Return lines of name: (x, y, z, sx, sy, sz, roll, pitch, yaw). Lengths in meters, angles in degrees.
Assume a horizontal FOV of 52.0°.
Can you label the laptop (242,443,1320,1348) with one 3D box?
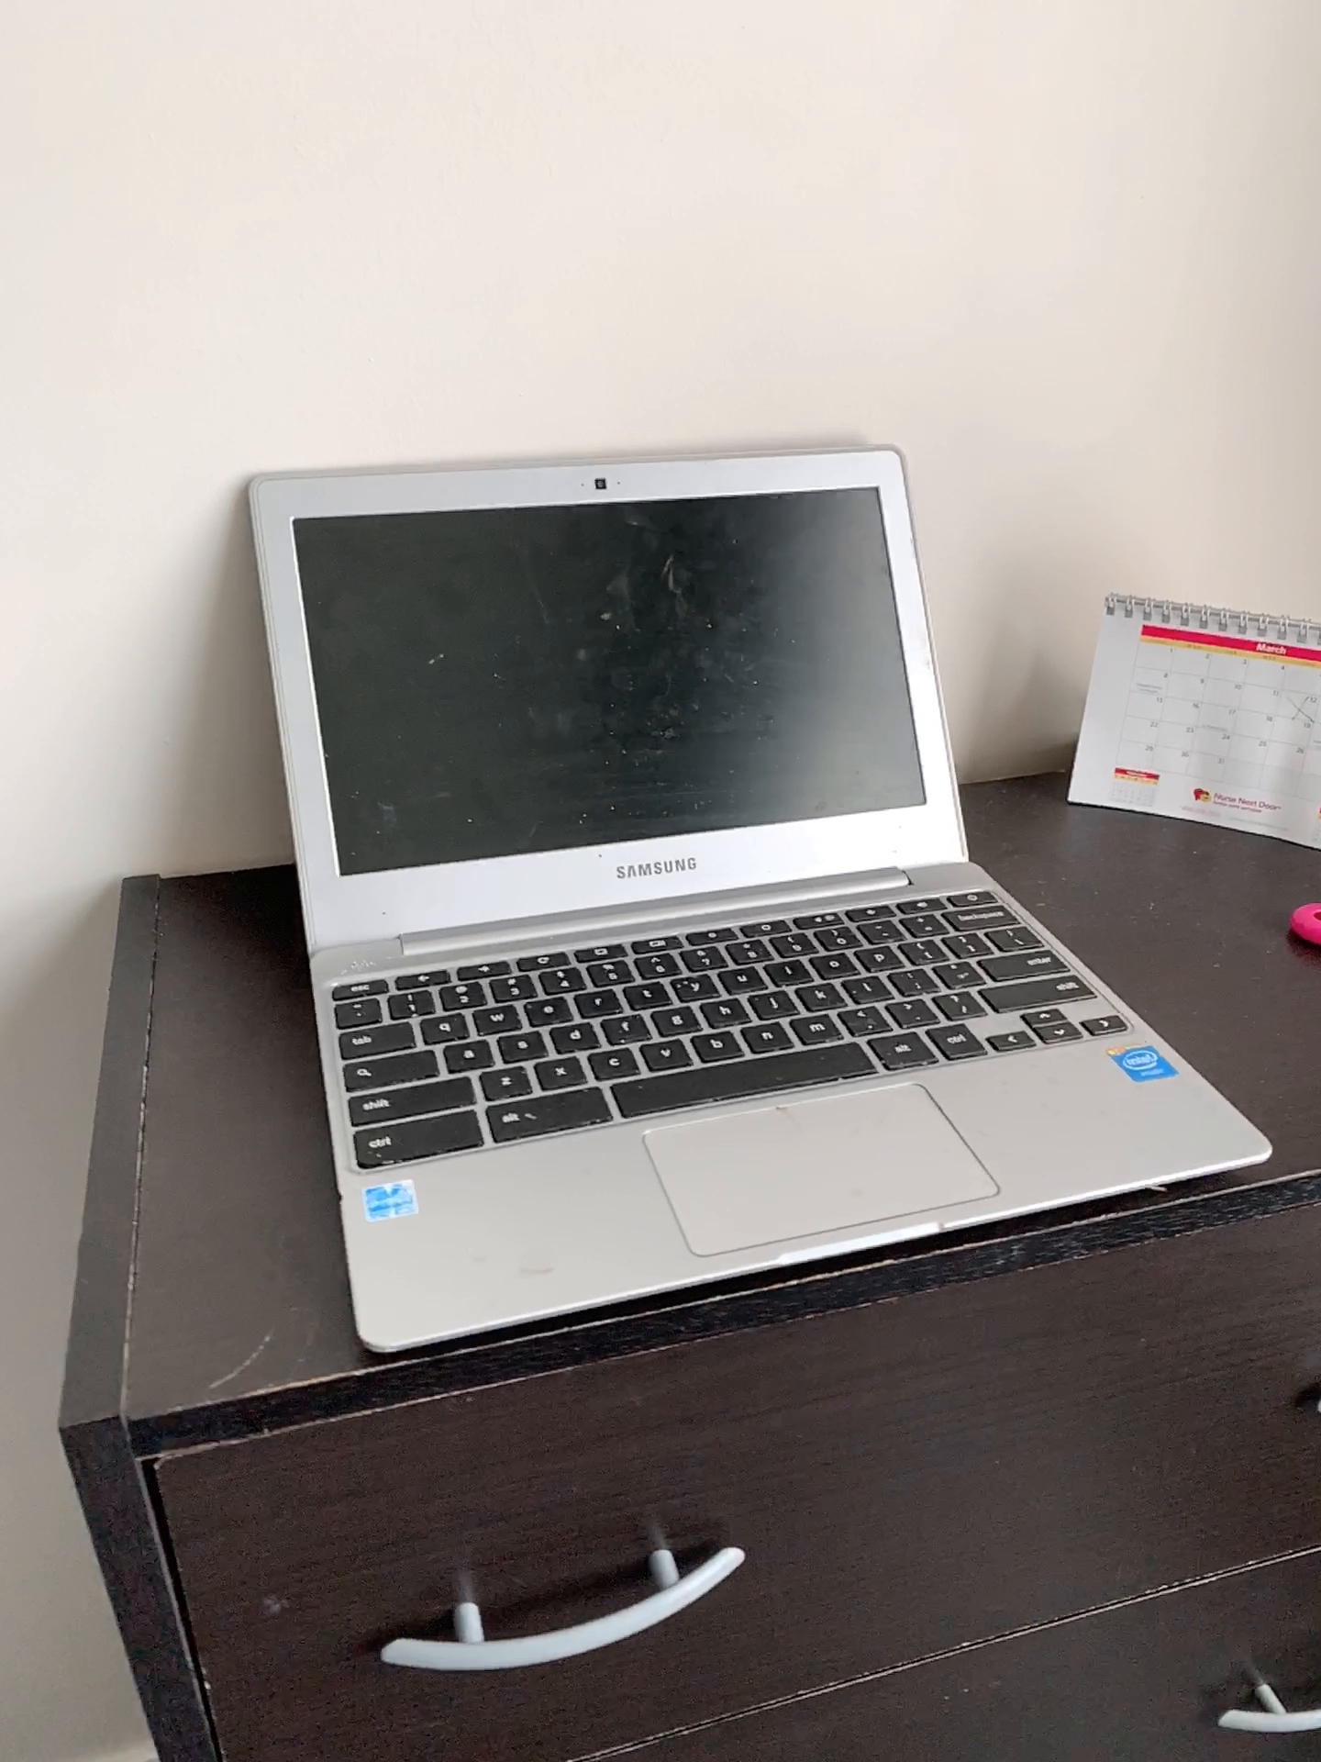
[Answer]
laptop: (0.015, -0.041, 0.491, 0.291, 0.153, 0.318, -8, 30, -16)
